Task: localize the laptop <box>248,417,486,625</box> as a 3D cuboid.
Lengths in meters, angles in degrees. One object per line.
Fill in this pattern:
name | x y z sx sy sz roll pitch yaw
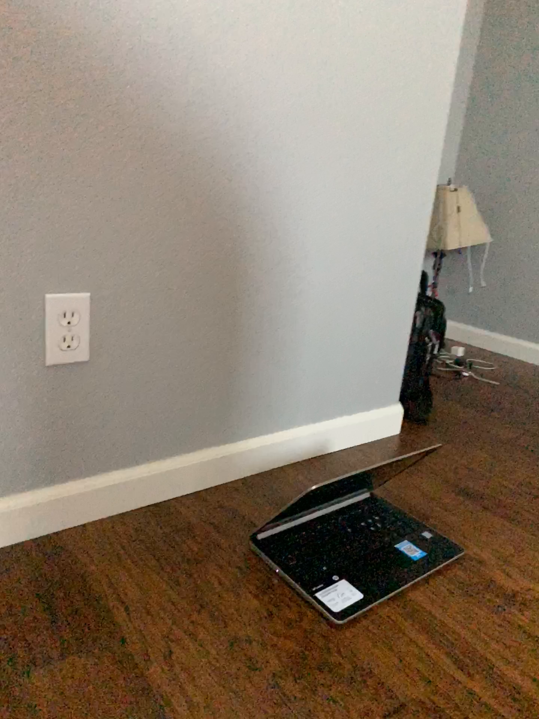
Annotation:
laptop | 0.165 0.243 0.933 0.317 0.169 0.220 -8 22 -39
